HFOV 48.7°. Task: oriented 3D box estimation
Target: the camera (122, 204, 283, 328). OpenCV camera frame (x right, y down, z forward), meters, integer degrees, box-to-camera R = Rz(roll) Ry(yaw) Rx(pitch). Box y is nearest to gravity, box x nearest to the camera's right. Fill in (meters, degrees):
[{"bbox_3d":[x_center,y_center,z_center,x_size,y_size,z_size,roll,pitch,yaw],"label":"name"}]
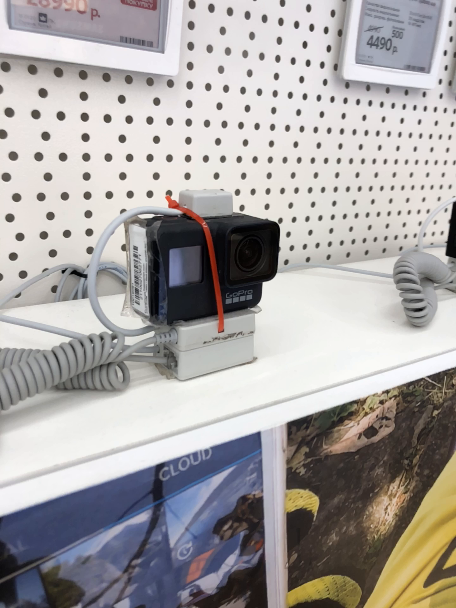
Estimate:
[{"bbox_3d":[-0.011,-0.020,0.231,0.067,0.044,0.029,-10,22,-34],"label":"camera"}]
